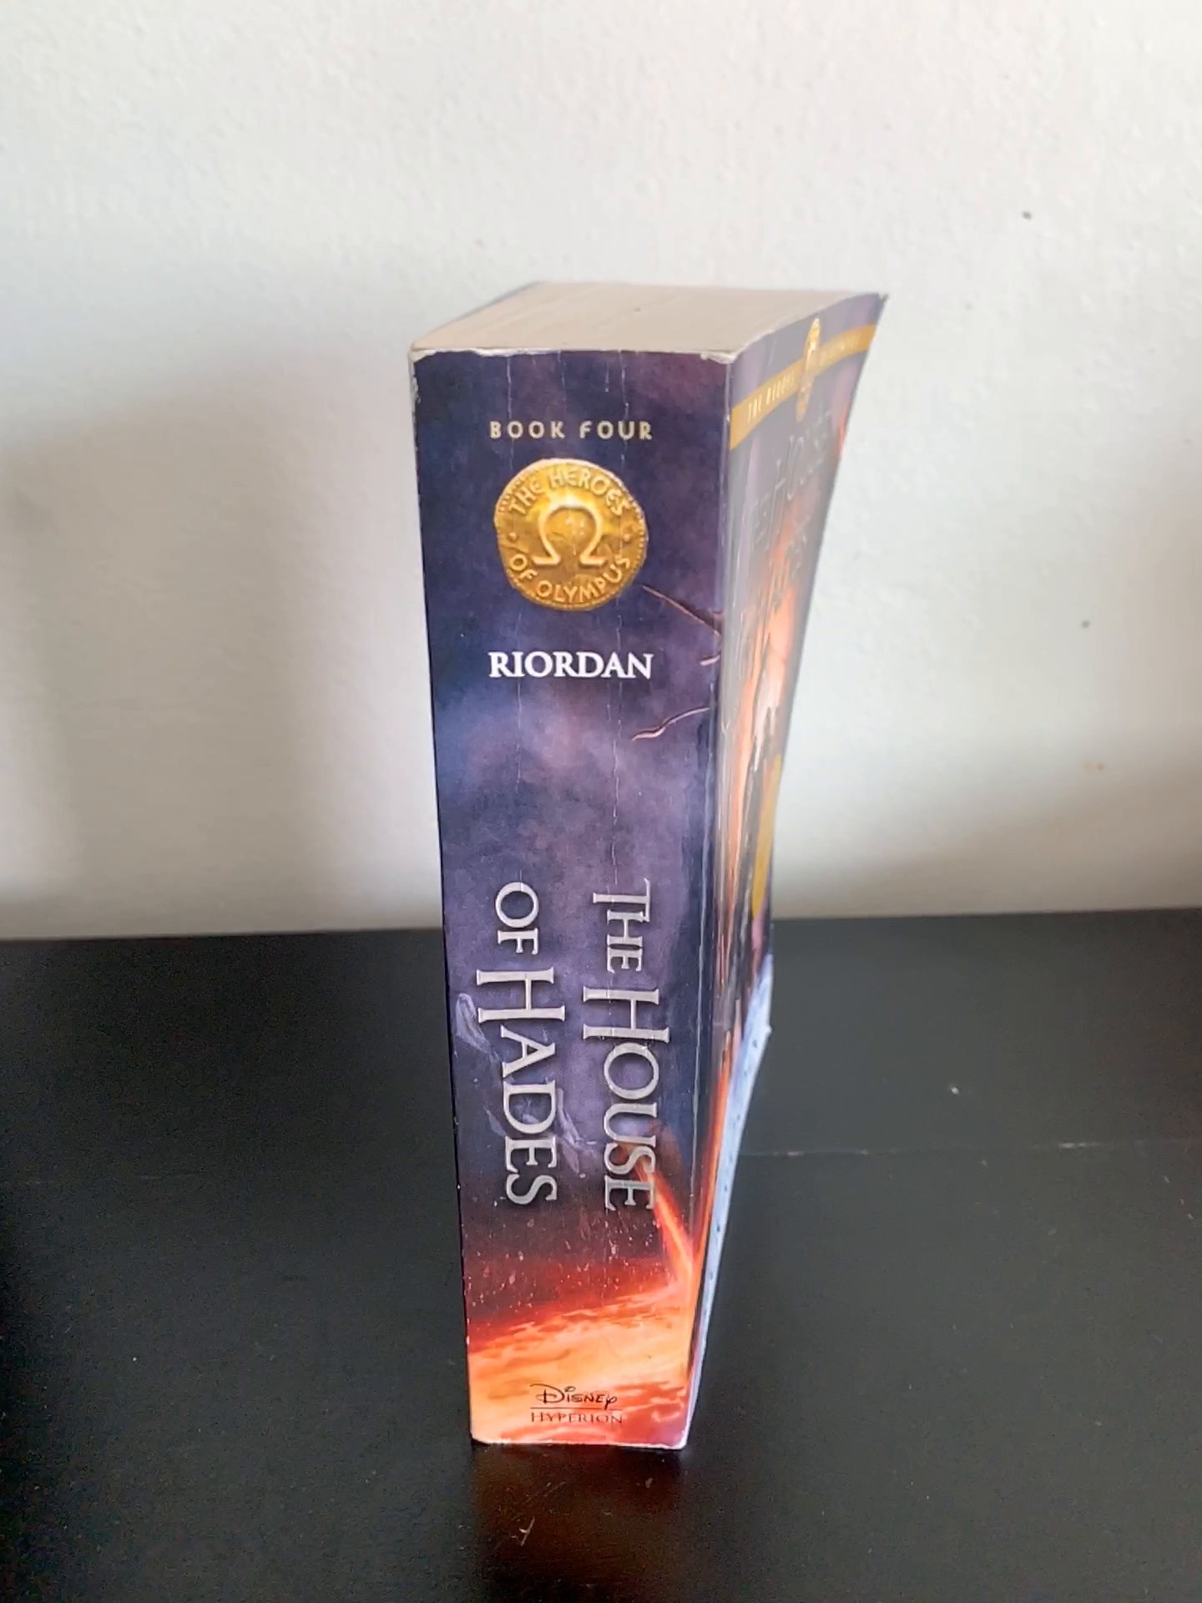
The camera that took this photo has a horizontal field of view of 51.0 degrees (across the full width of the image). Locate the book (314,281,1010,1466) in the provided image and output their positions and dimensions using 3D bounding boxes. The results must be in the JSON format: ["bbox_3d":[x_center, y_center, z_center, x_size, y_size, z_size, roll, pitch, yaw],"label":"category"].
[{"bbox_3d":[0.008,-0.002,0.241,0.077,0.176,0.145,1,23,2],"label":"book"}]
